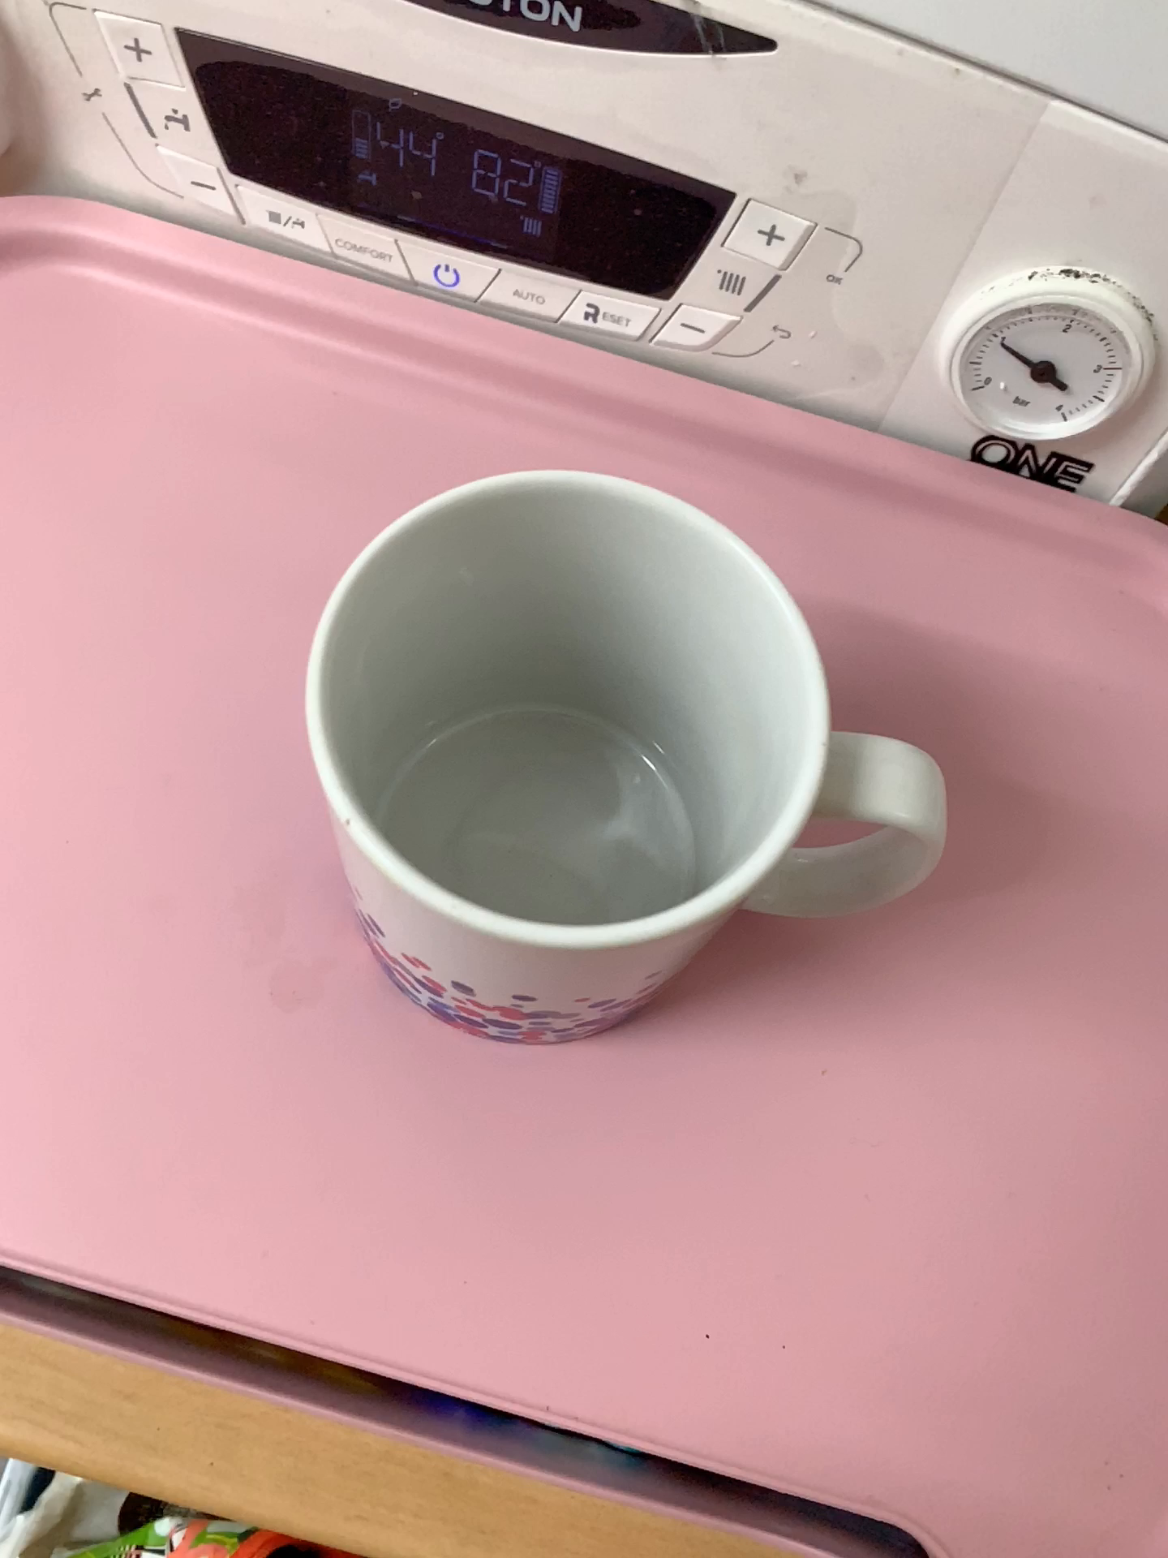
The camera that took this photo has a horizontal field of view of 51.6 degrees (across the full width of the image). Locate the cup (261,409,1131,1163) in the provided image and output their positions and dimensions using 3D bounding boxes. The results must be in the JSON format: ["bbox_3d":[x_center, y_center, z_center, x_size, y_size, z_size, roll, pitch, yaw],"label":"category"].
[{"bbox_3d":[0.017,0.009,0.219,0.120,0.089,0.080,14,63,-2],"label":"cup"}]
